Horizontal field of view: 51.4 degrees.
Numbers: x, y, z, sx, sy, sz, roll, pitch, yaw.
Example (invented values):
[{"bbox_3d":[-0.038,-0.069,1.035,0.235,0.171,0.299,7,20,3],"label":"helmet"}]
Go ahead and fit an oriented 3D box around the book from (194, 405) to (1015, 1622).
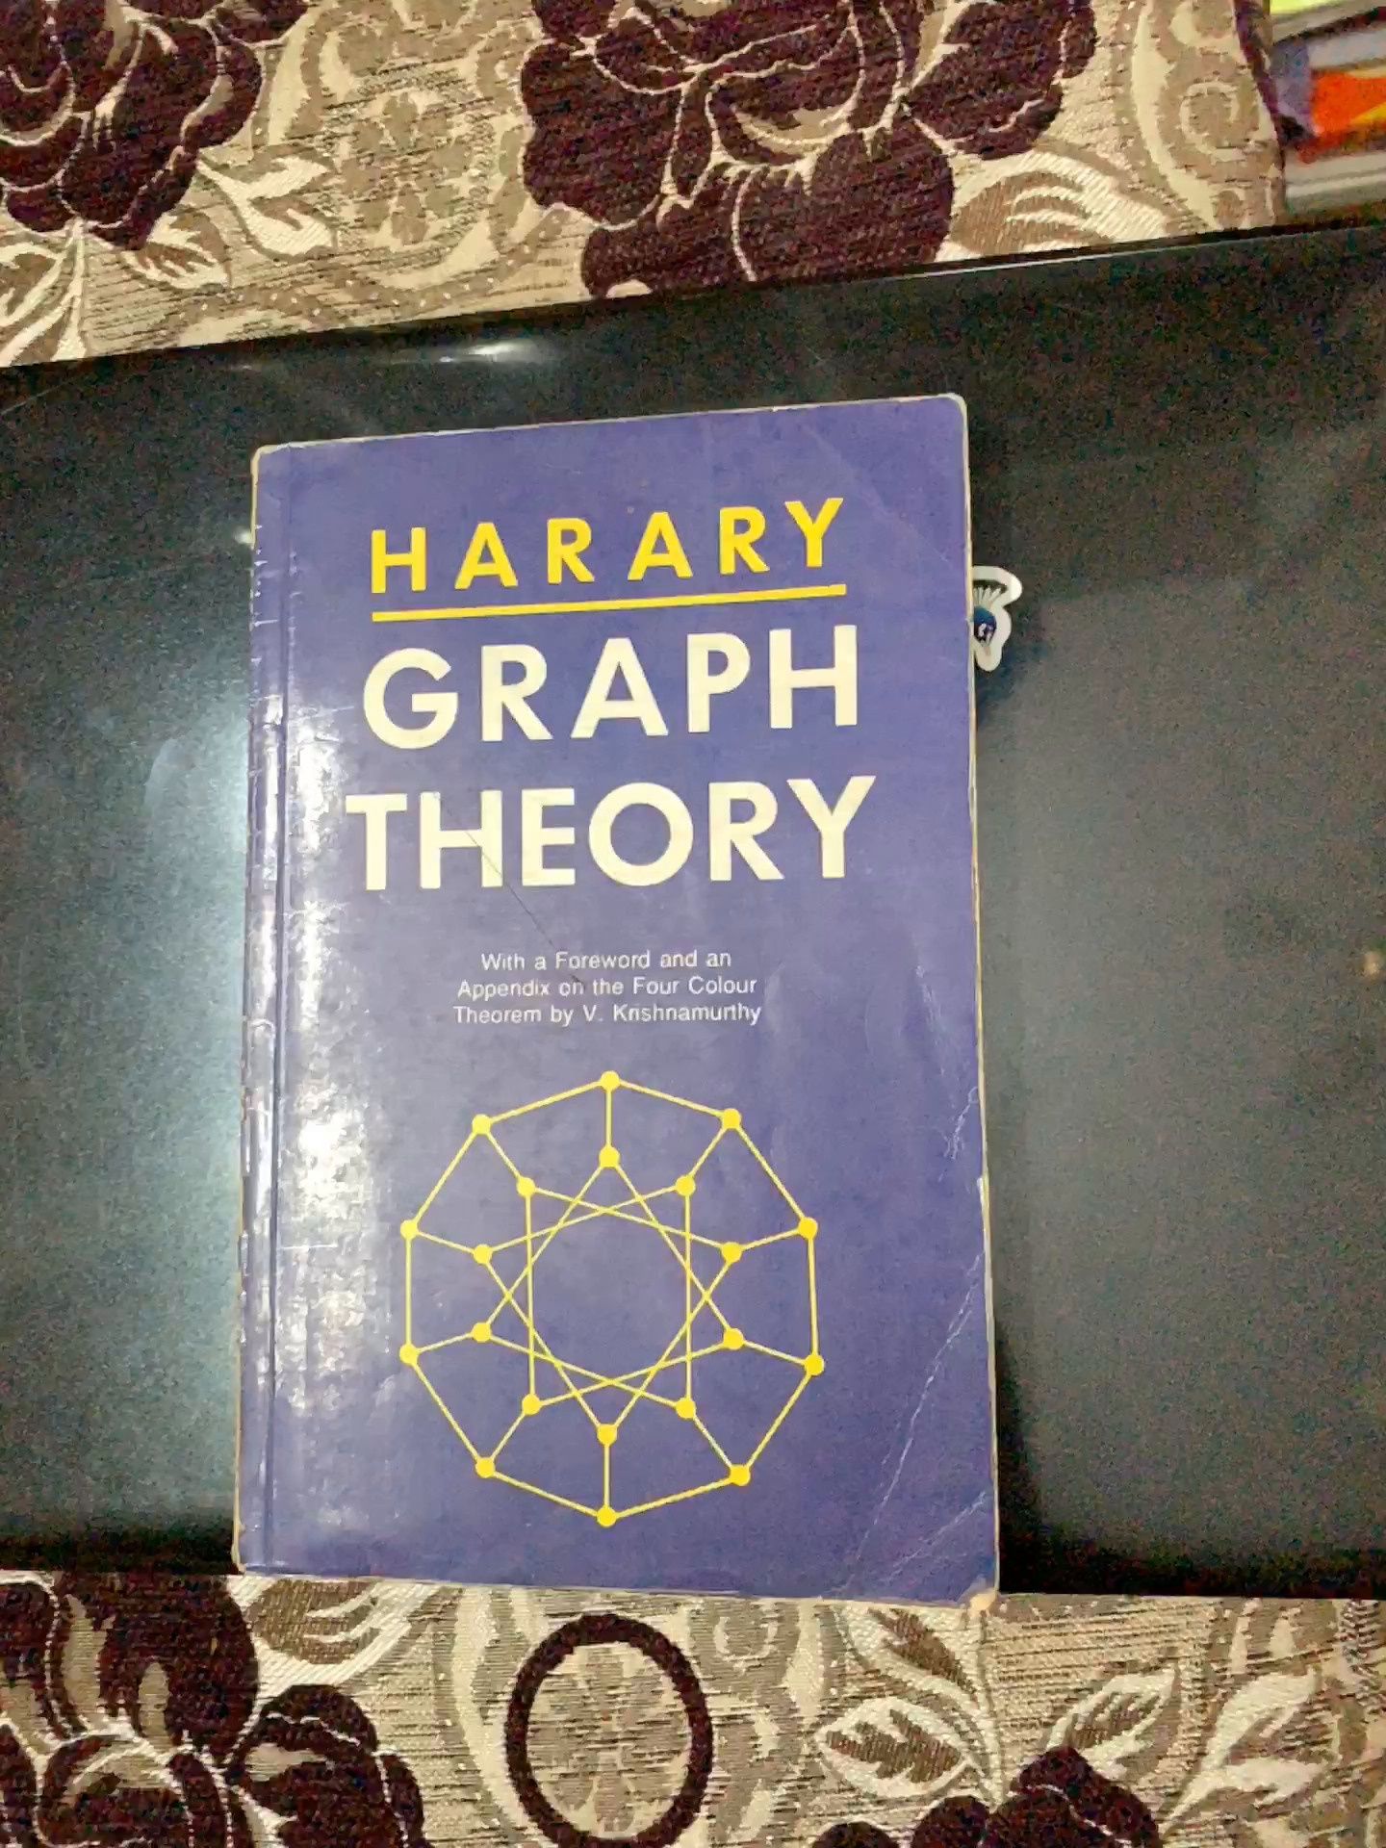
[{"bbox_3d":[-0.016,0.013,0.258,0.140,0.020,0.200,-1,85,9],"label":"book"}]
